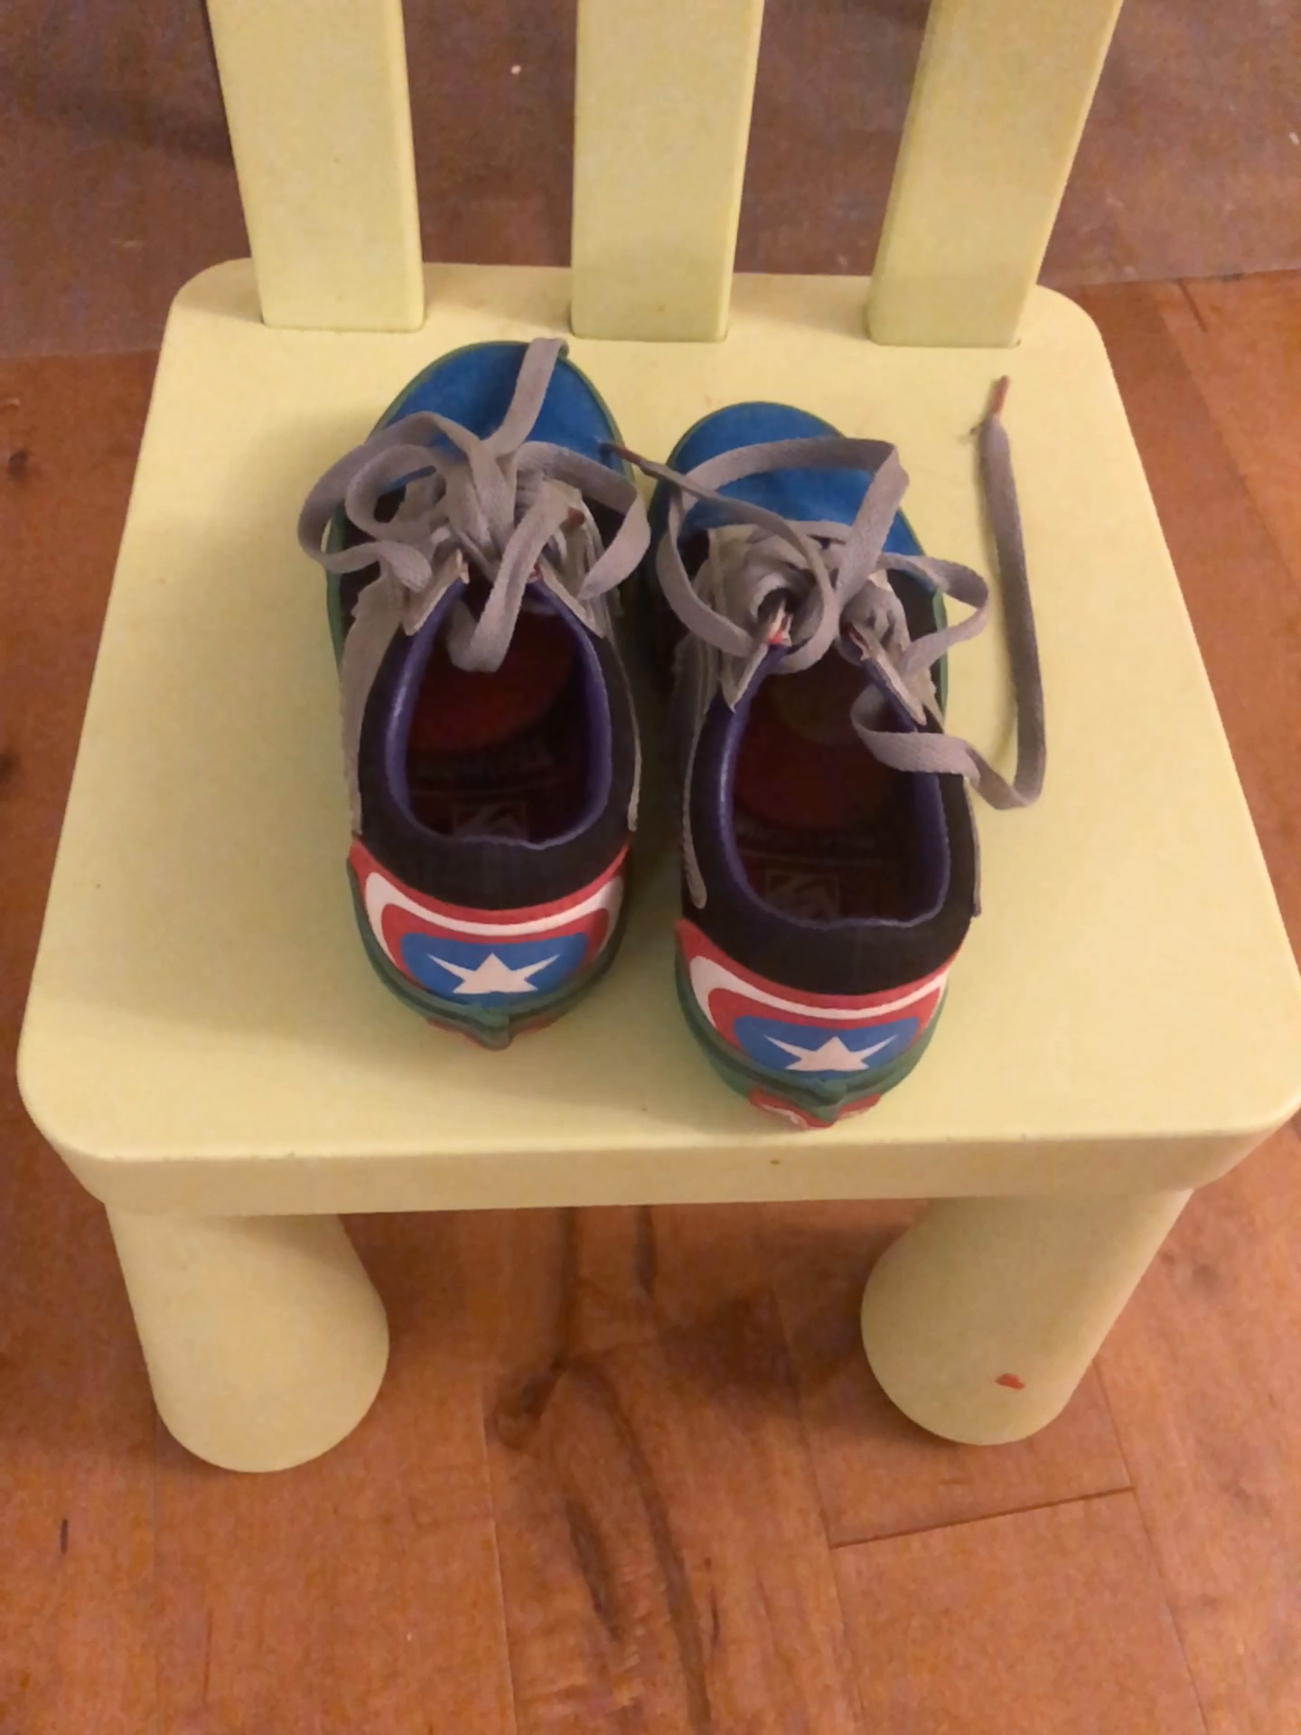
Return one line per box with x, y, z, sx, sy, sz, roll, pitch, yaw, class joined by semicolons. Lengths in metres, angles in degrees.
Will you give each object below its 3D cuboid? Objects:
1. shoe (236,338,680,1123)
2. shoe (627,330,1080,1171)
-0.042;-0.039;0.374;0.090;0.080;0.191;1;60;-3;shoe
0.036;-0.032;0.339;0.080;0.070;0.191;1;60;-3;shoe
